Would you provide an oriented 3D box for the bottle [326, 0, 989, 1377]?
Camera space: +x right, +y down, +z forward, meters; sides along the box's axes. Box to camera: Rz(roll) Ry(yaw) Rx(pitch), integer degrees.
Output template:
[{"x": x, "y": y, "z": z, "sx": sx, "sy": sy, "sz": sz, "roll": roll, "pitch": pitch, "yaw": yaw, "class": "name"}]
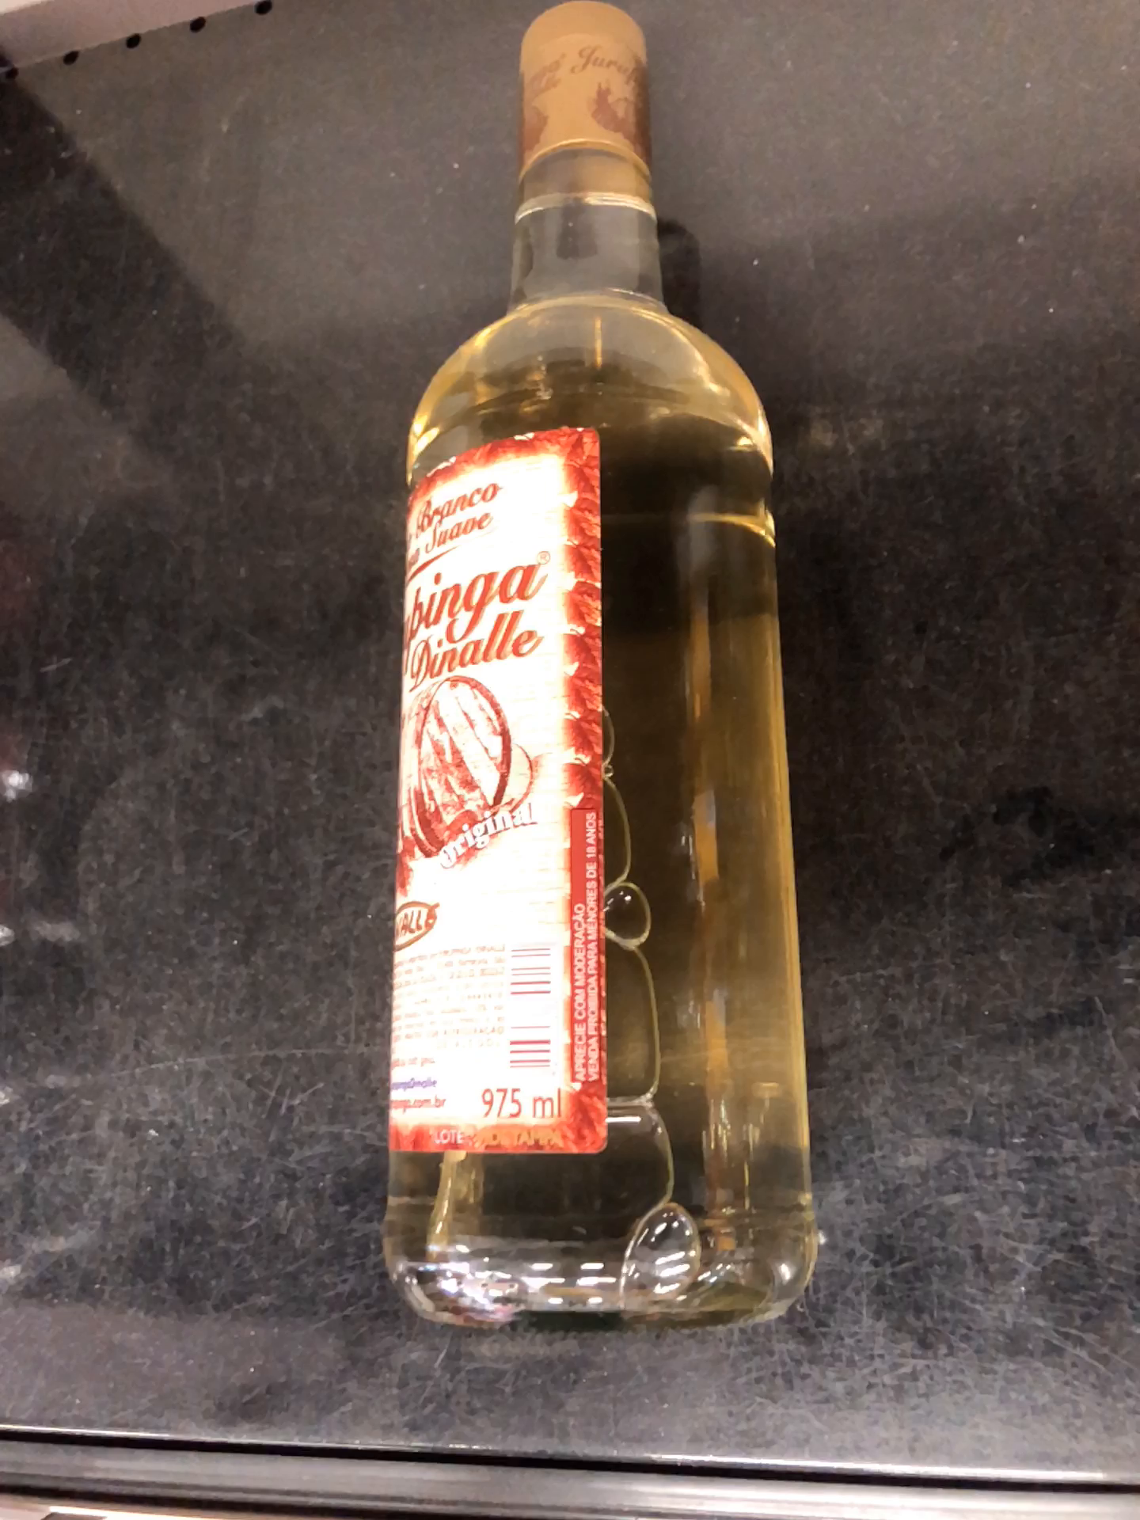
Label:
[{"x": 0.009, "y": -0.044, "z": 0.272, "sx": 0.100, "sy": 0.080, "sz": 0.300, "roll": 4, "pitch": 75, "yaw": -18, "class": "bottle"}]
